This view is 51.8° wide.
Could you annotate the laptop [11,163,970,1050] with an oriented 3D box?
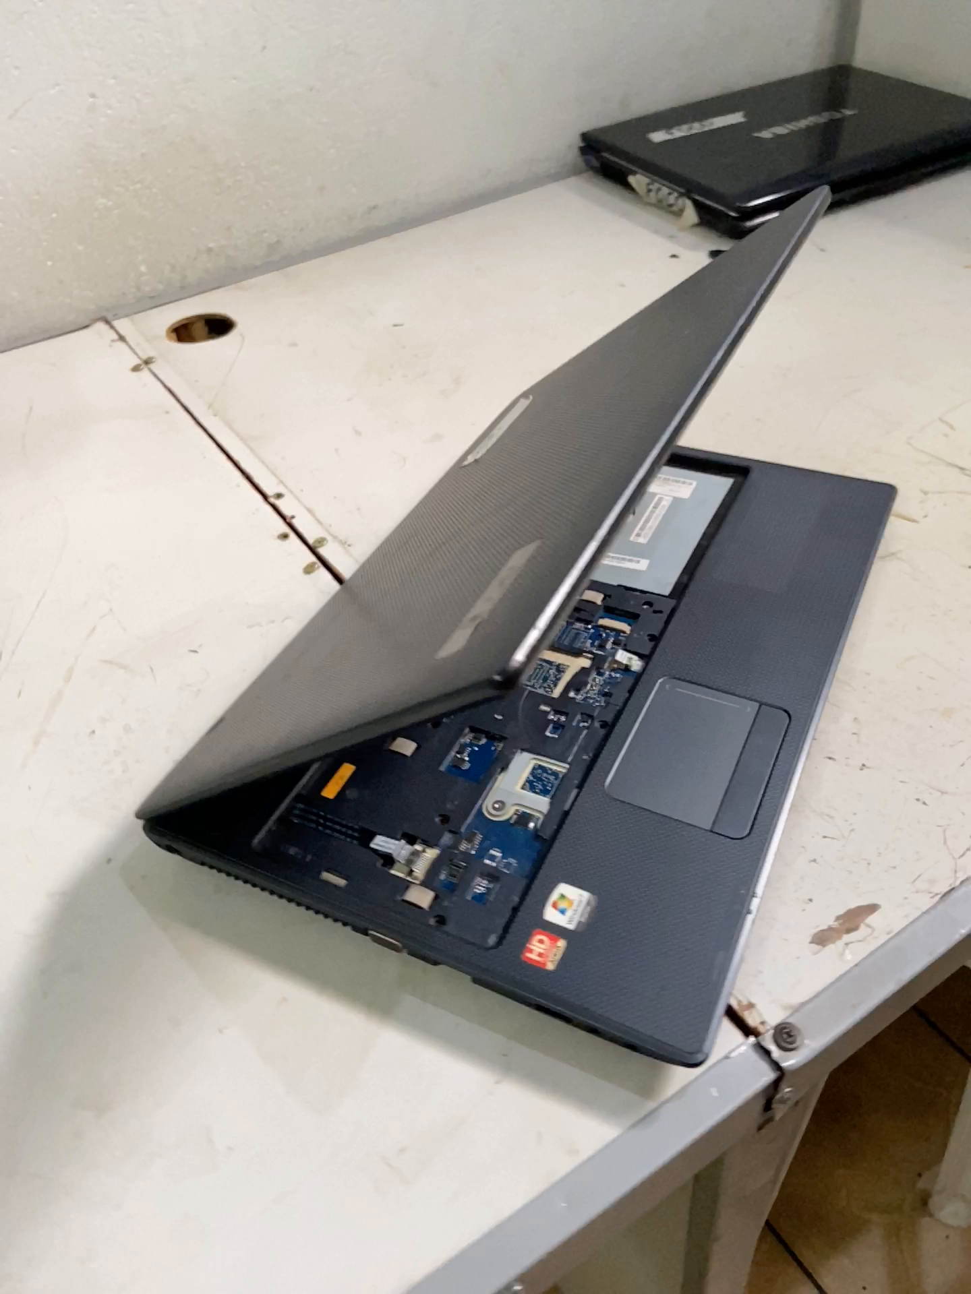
[{"bbox_3d":[0.045,-0.068,0.447,0.239,0.156,0.371,16,46,23],"label":"laptop"}]
